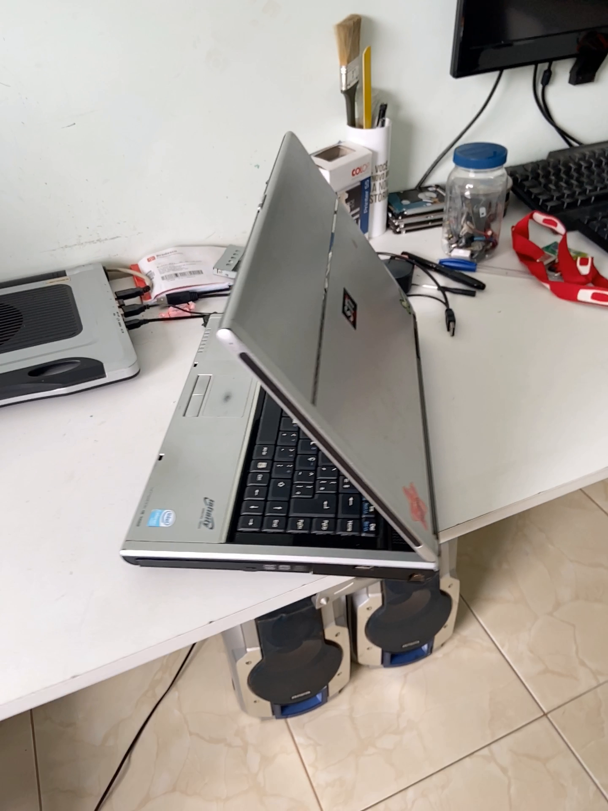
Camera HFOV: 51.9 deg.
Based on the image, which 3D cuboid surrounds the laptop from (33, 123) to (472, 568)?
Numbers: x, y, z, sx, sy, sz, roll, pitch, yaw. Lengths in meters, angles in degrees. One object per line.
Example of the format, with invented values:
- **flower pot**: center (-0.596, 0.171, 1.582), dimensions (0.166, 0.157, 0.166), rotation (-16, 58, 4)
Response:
- **laptop**: center (-0.012, -0.076, 0.529), dimensions (0.235, 0.210, 0.340), rotation (1, 40, 4)
